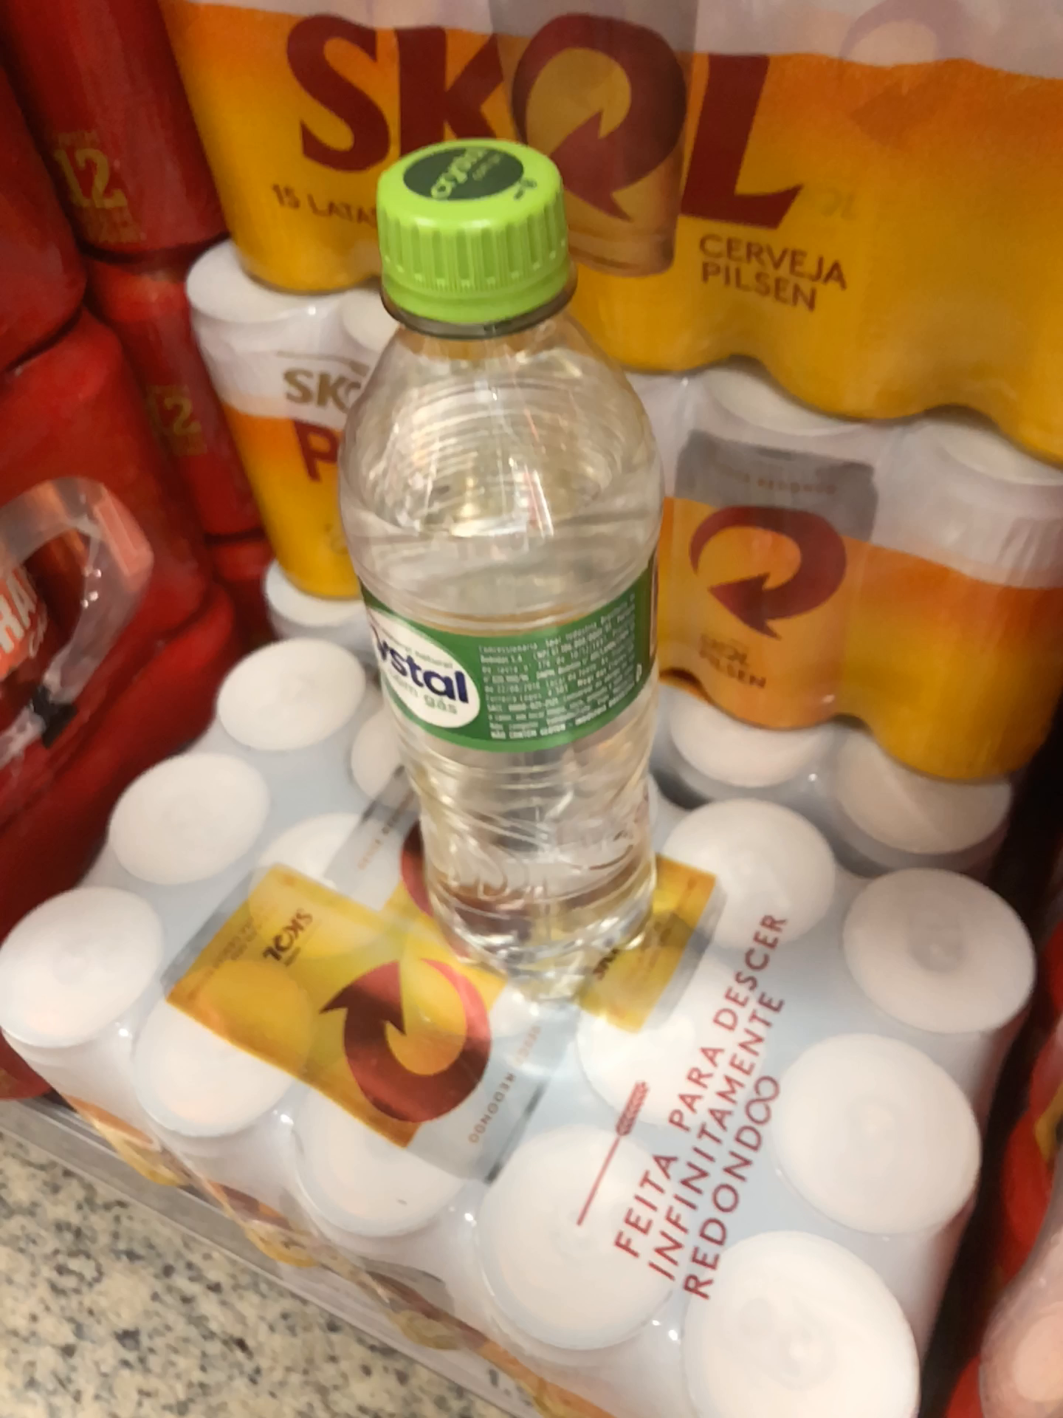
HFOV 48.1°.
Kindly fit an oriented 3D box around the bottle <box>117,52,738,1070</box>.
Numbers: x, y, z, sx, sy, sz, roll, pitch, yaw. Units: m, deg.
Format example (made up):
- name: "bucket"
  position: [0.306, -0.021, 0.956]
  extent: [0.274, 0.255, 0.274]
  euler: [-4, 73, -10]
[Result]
- name: "bottle"
  position: [-0.004, -0.008, 0.258]
  extent: [0.060, 0.219, 0.070]
  euler: [-39, 57, -20]
